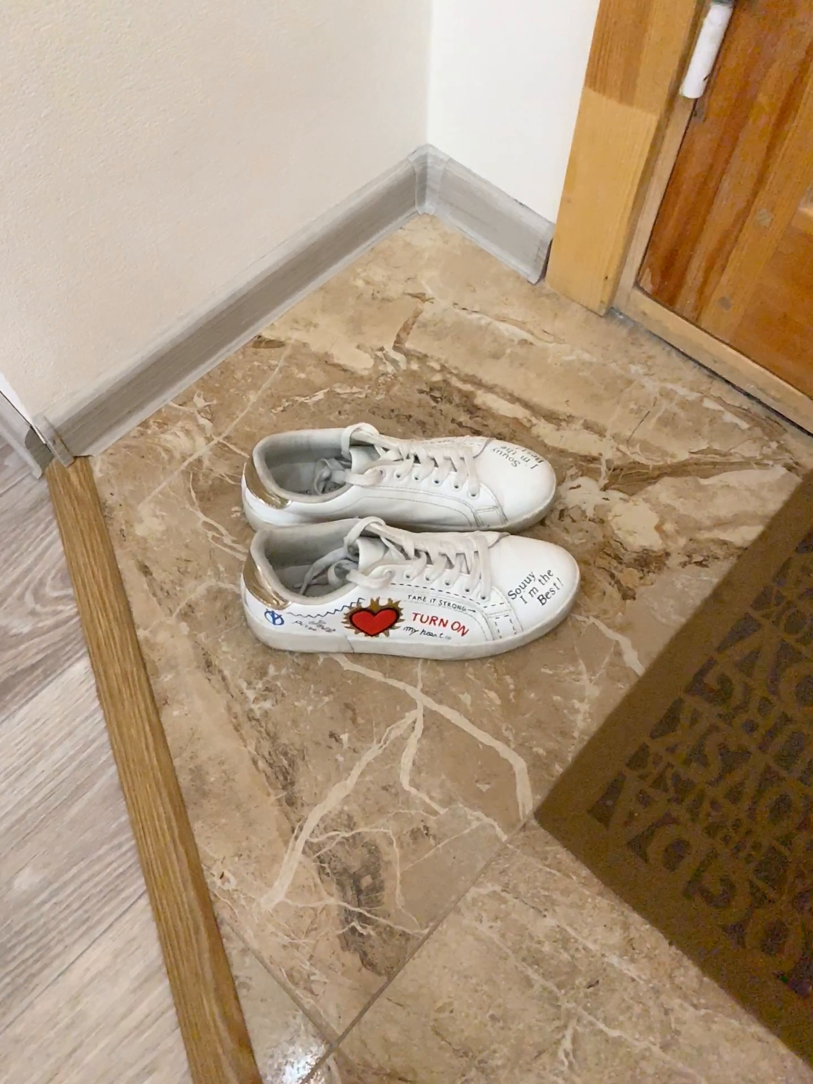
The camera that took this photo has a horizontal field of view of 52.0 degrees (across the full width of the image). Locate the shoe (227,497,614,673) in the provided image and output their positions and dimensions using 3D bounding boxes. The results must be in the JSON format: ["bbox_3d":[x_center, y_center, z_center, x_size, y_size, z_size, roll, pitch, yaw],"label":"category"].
[{"bbox_3d":[0.007,0.032,0.607,0.256,0.080,0.093,-2,61,-2],"label":"shoe"}]

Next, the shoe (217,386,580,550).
[{"bbox_3d":[-0.007,-0.056,0.644,0.256,0.080,0.093,-1,61,-1],"label":"shoe"}]
